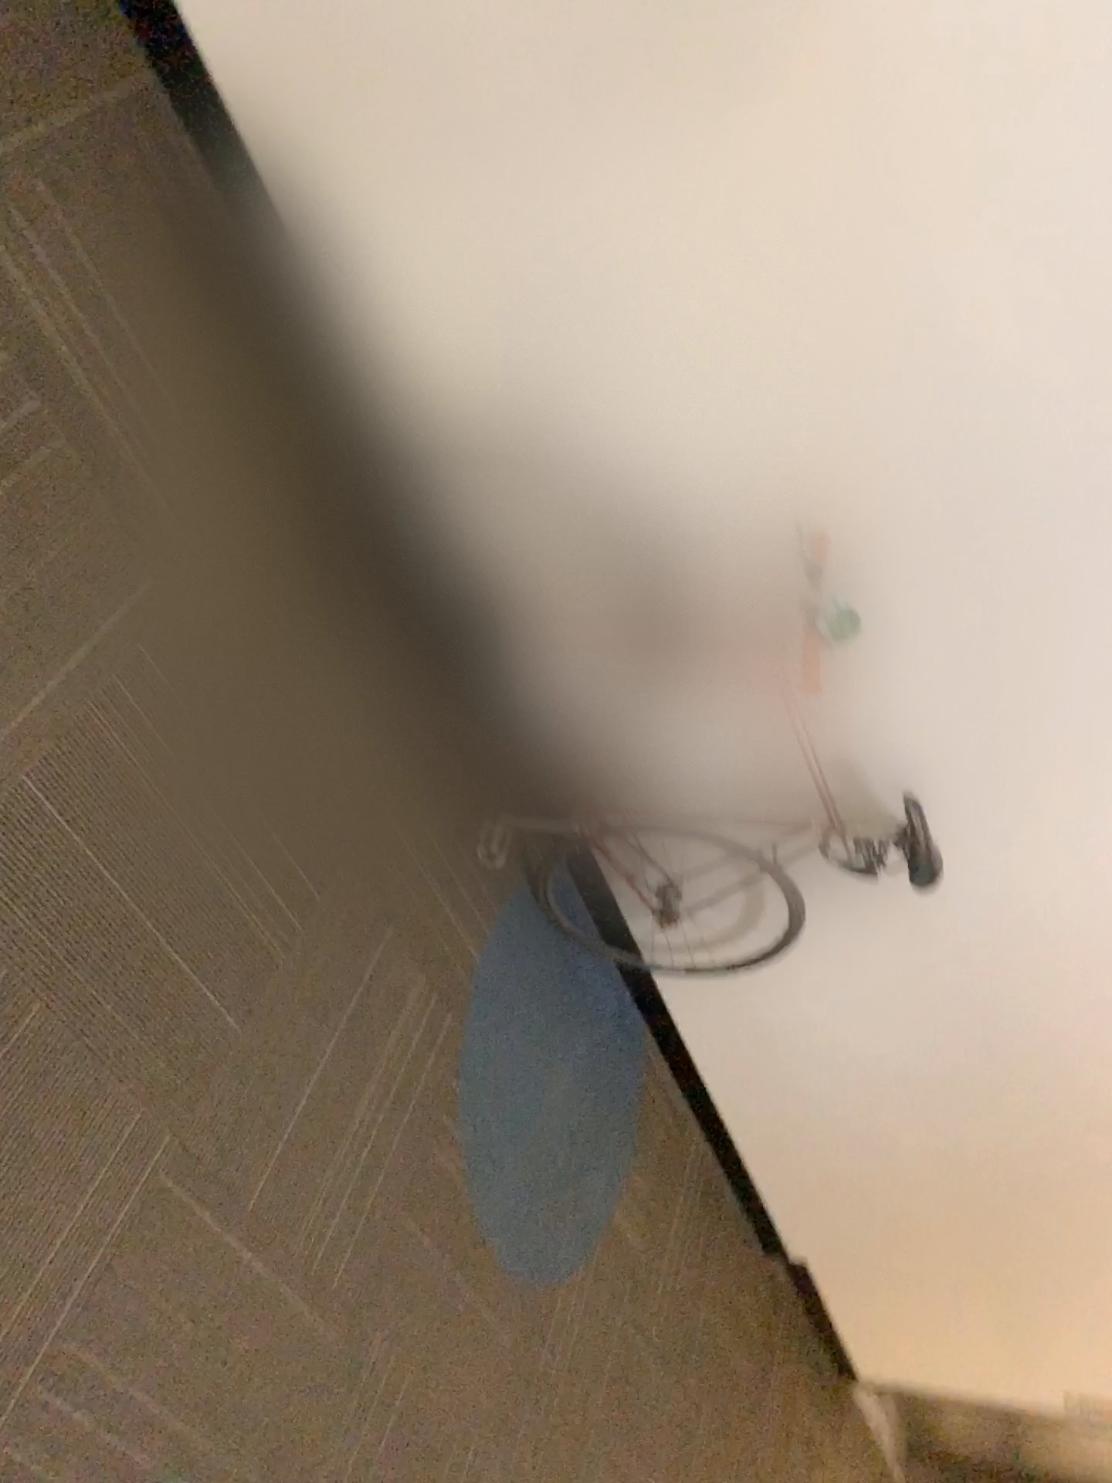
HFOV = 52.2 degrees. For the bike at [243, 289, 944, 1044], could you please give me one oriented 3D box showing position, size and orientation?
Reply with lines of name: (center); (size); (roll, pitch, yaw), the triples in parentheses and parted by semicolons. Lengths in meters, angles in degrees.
bike: (0.224, 0.017, 2.414); (1.627, 0.910, 0.450); (61, 36, -41)
